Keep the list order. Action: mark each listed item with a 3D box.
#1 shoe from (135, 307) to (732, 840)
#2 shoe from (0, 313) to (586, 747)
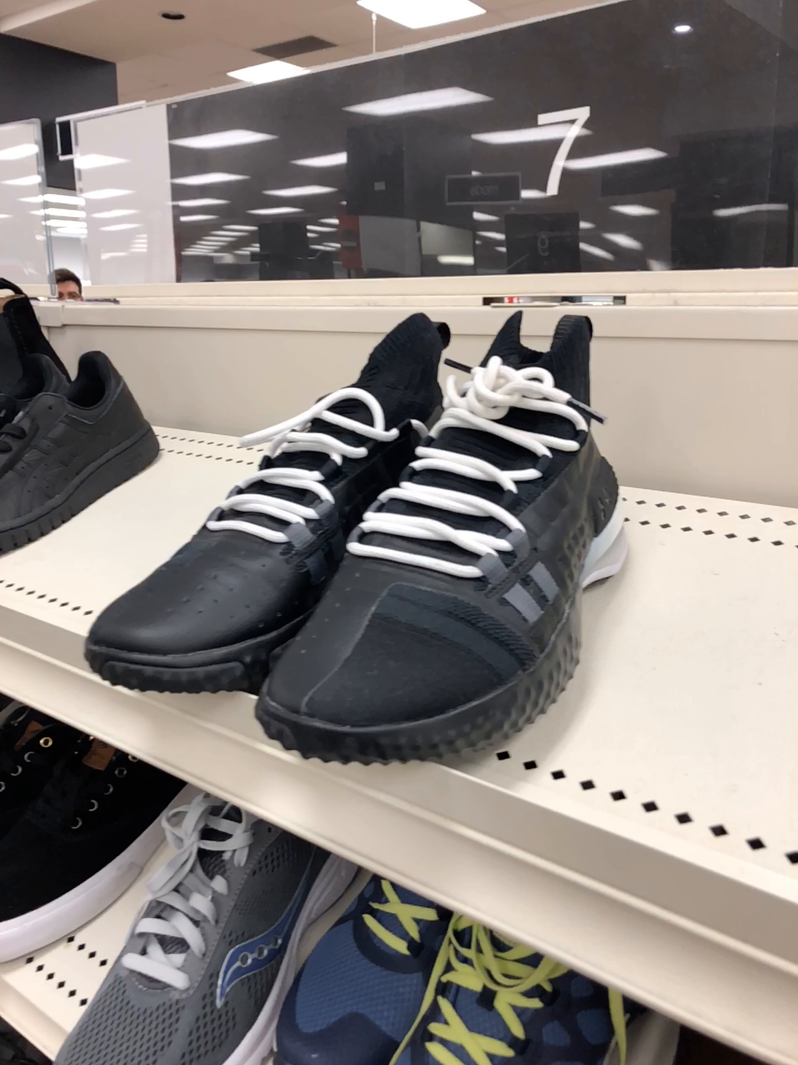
[{"bbox_3d":[0.056,-0.024,0.443,0.120,0.136,0.352,9,23,33],"label":"shoe"},{"bbox_3d":[-0.025,-0.037,0.513,0.120,0.136,0.352,10,24,36],"label":"shoe"}]
